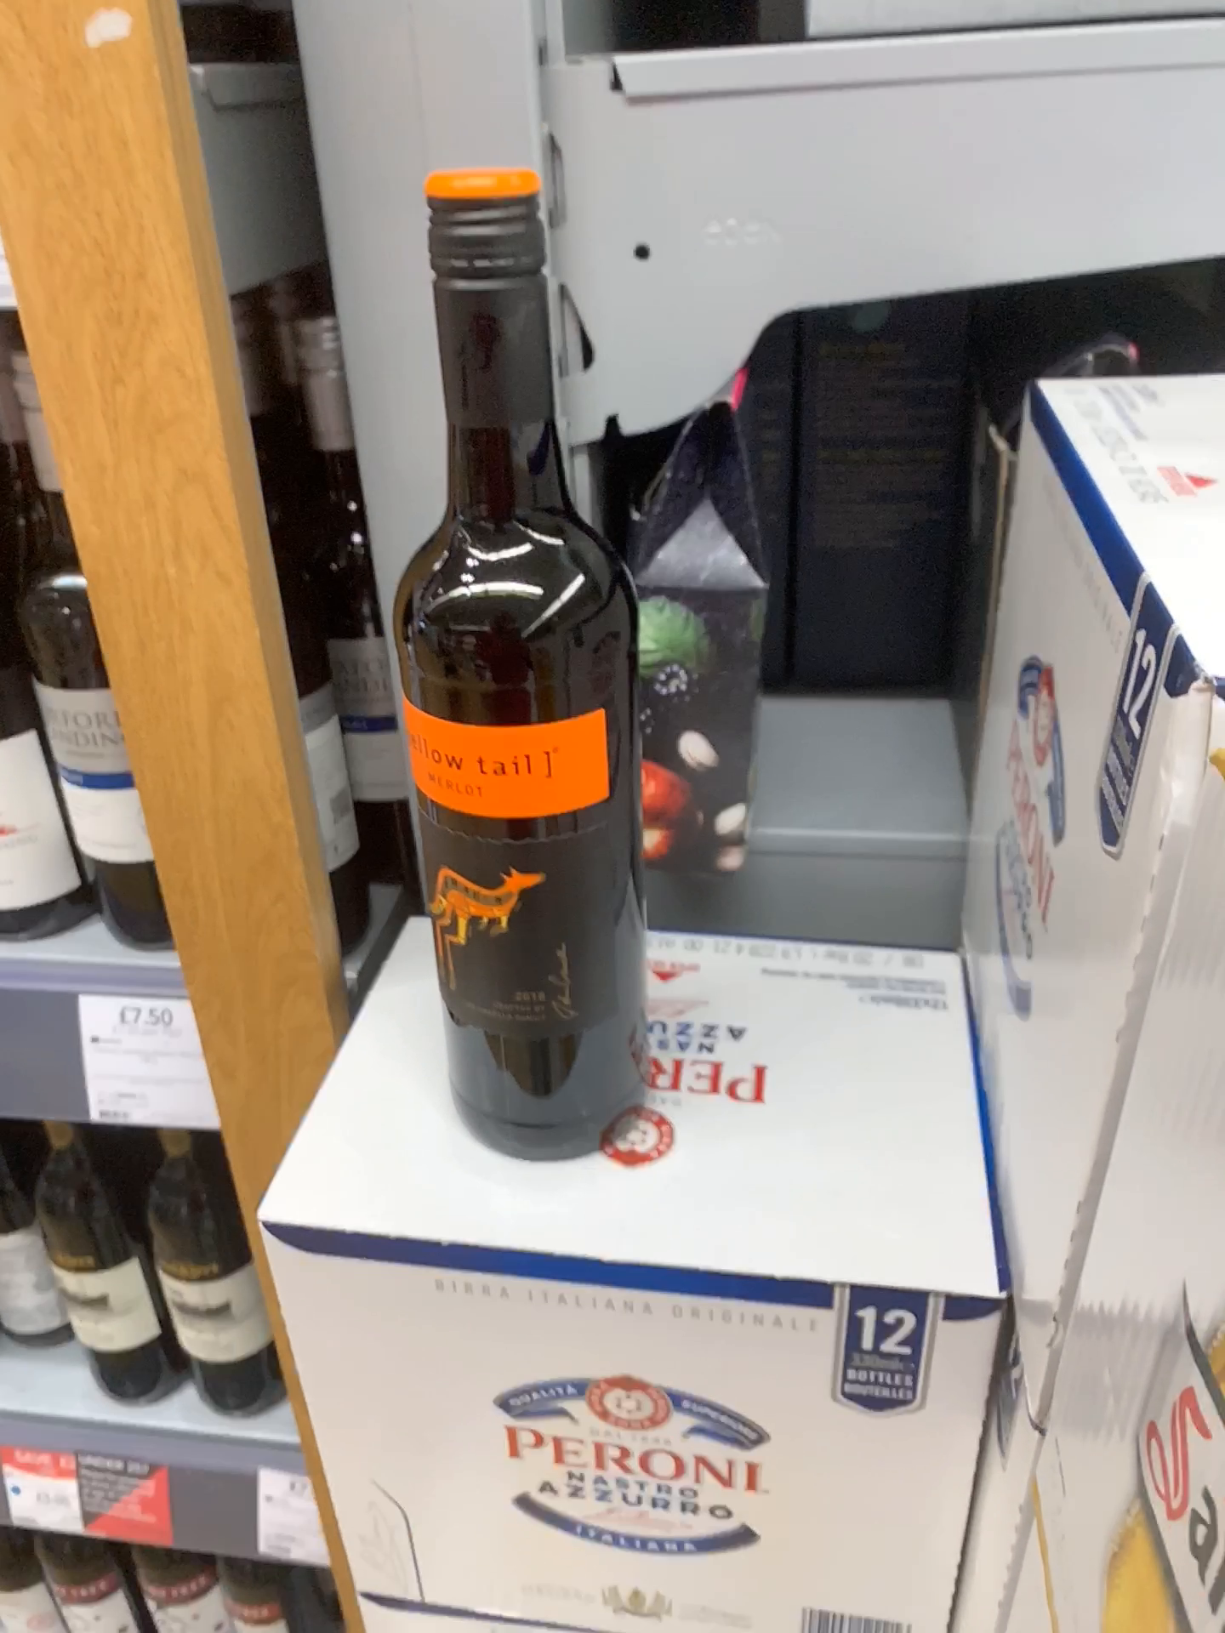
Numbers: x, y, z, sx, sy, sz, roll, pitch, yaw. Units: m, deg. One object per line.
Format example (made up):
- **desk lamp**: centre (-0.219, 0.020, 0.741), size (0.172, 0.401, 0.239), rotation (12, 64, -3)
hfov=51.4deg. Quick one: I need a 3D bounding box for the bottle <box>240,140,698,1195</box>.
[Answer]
- **bottle**: centre (-0.028, -0.033, 0.383), size (0.078, 0.297, 0.077), rotation (-2, 30, 1)
